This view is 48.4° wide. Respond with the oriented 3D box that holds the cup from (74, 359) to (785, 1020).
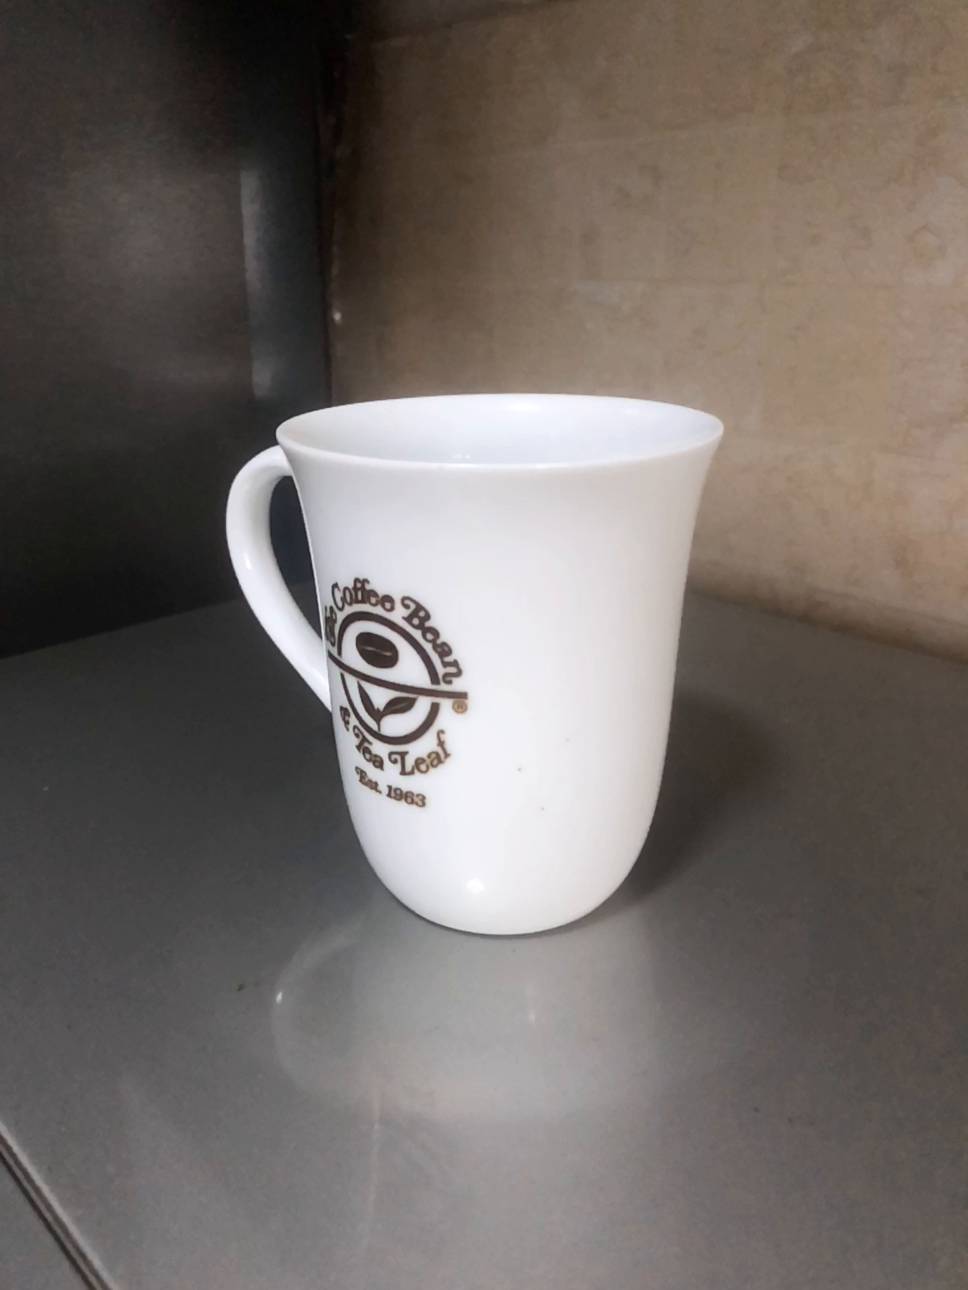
[{"bbox_3d":[-0.012,-0.005,0.257,0.130,0.109,0.090,13,24,33],"label":"cup"}]
